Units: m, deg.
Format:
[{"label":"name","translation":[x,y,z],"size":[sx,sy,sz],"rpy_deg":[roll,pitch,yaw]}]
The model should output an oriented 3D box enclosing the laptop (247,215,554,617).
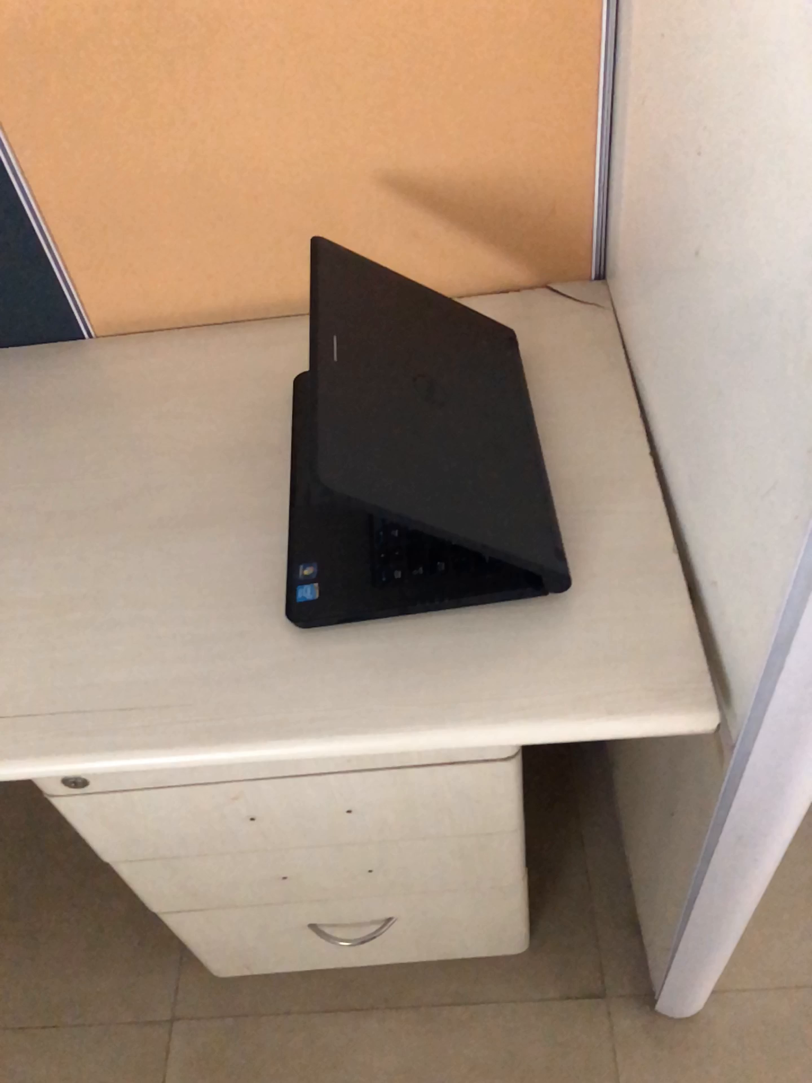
[{"label":"laptop","translation":[-0.004,-0.121,0.784],"size":[0.215,0.154,0.319],"rpy_deg":[-7,48,3]}]
